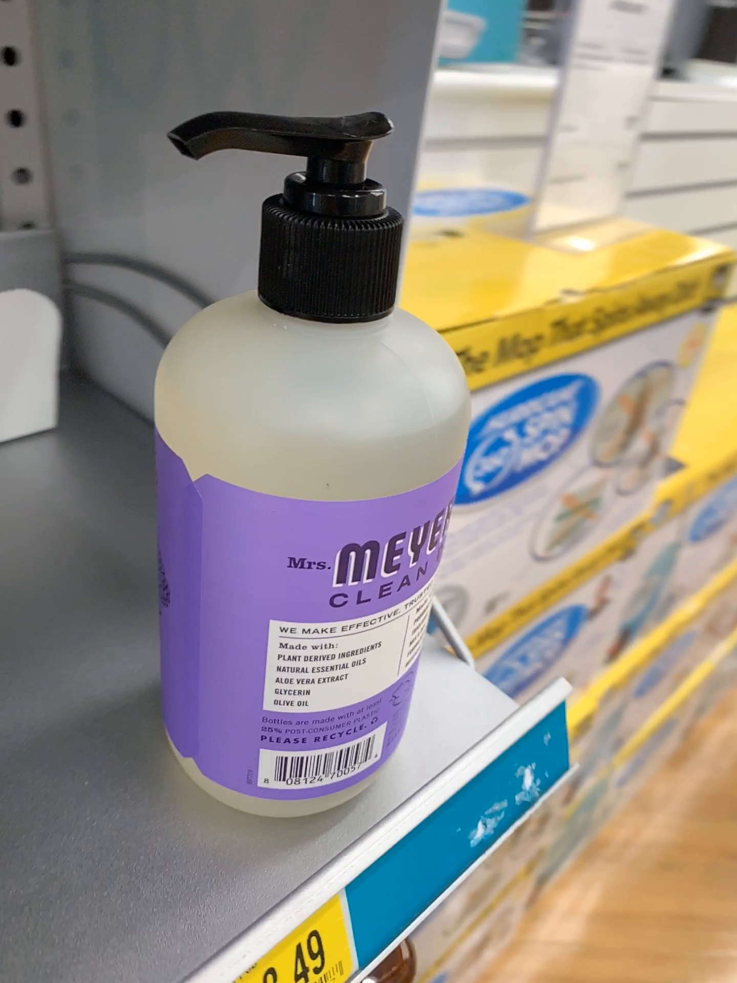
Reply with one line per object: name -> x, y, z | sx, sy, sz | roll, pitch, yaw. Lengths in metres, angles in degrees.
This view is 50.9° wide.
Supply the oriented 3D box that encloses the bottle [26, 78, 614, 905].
bottle -> -0.013, -0.001, 0.181 | 0.070, 0.159, 0.080 | 27, 37, 29
